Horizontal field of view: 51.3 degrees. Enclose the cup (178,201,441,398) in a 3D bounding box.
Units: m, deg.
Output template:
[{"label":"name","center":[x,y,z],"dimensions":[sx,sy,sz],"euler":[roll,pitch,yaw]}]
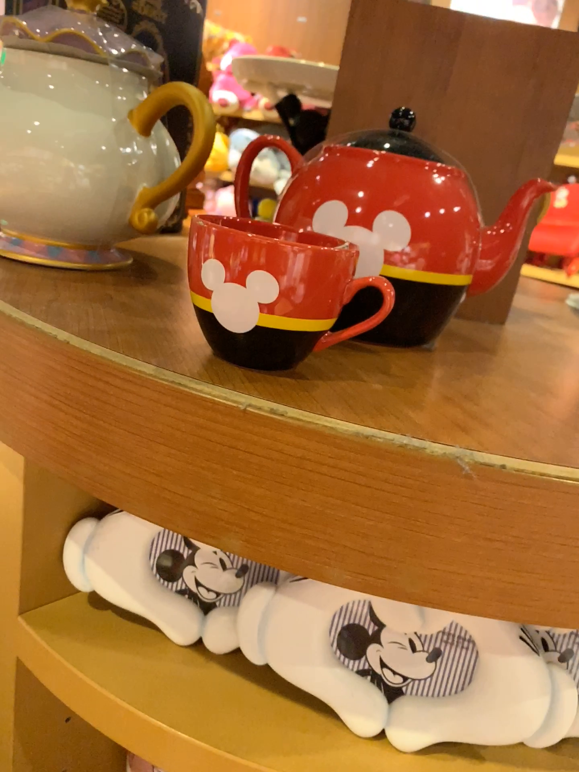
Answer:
[{"label":"cup","center":[0.011,-0.049,0.305],"dimensions":[0.100,0.065,0.078],"euler":[18,20,21]}]
